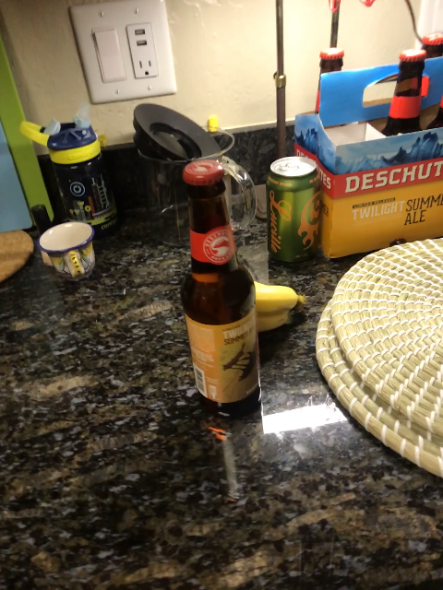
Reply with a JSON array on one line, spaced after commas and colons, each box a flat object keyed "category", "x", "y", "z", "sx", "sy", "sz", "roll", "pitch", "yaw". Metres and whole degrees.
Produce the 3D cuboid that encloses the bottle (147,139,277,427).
[{"category": "bottle", "x": -0.001, "y": 0.000, "z": 0.349, "sx": 0.060, "sy": 0.199, "sz": 0.060, "roll": -3, "pitch": 37, "yaw": 3}]
